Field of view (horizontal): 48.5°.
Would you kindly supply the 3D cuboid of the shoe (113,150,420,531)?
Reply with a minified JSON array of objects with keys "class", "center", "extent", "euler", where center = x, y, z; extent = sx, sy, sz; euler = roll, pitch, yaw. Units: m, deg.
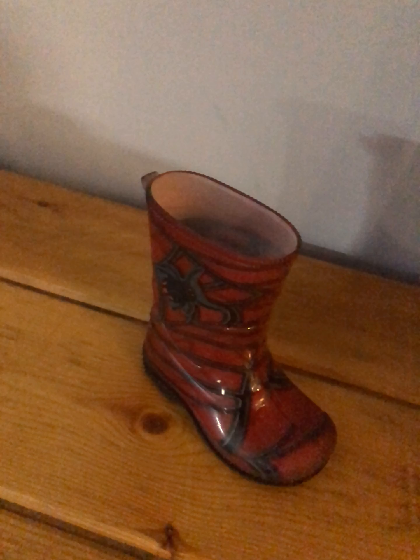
[{"class":"shoe","center":[0.025,0.040,0.294],"extent":[0.160,0.169,0.080],"euler":[36,51,23]}]
